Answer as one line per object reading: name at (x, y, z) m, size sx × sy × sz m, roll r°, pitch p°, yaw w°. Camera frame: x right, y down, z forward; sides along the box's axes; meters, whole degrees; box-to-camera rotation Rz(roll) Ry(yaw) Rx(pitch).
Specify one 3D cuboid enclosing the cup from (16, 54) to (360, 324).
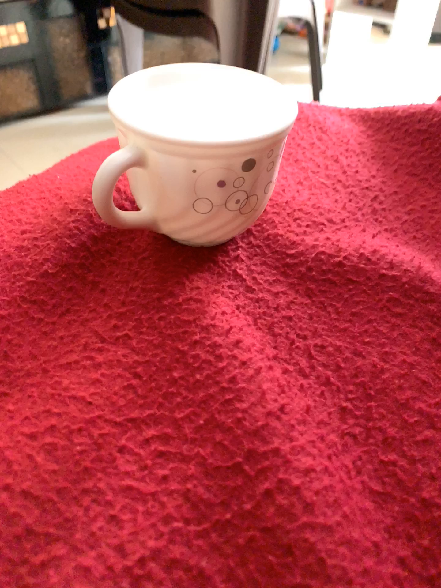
cup at (-0.009, -0.052, 0.188) m, size 0.080 × 0.050 × 0.100 m, roll 32°, pitch 52°, yaw 30°
